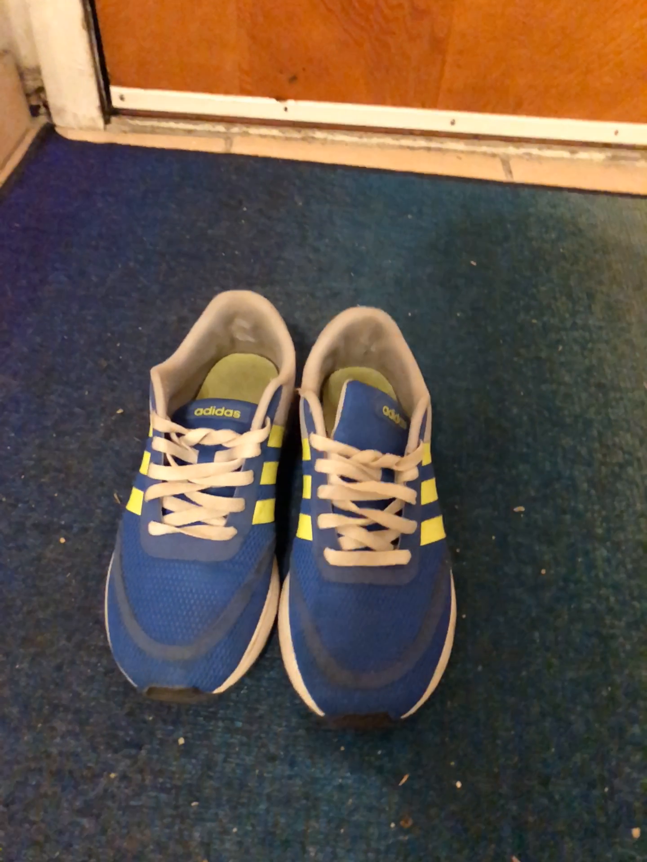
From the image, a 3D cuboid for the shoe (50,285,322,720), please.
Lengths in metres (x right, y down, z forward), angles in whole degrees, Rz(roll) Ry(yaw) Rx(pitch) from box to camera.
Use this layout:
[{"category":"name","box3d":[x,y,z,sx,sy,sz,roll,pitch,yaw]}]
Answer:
[{"category":"shoe","box3d":[-0.065,0.027,0.444,0.110,0.089,0.262,4,47,0]}]

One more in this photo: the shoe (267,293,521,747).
[{"category":"shoe","box3d":[0.035,0.036,0.429,0.110,0.089,0.262,4,47,0]}]
